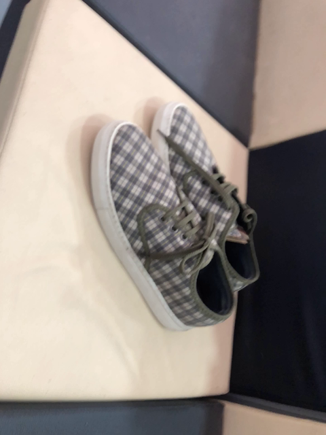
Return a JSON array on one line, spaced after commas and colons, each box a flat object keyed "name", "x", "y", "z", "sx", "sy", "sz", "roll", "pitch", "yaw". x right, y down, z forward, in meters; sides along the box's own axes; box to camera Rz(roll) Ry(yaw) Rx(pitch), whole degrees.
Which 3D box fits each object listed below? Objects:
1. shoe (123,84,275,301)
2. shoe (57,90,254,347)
[{"name": "shoe", "x": 0.054, "y": -0.031, "z": 0.502, "sx": 0.101, "sy": 0.099, "sz": 0.260, "roll": -28, "pitch": 105, "yaw": -40}, {"name": "shoe", "x": 0.000, "y": 0.007, "z": 0.438, "sx": 0.101, "sy": 0.099, "sz": 0.271, "roll": -38, "pitch": 112, "yaw": -37}]
